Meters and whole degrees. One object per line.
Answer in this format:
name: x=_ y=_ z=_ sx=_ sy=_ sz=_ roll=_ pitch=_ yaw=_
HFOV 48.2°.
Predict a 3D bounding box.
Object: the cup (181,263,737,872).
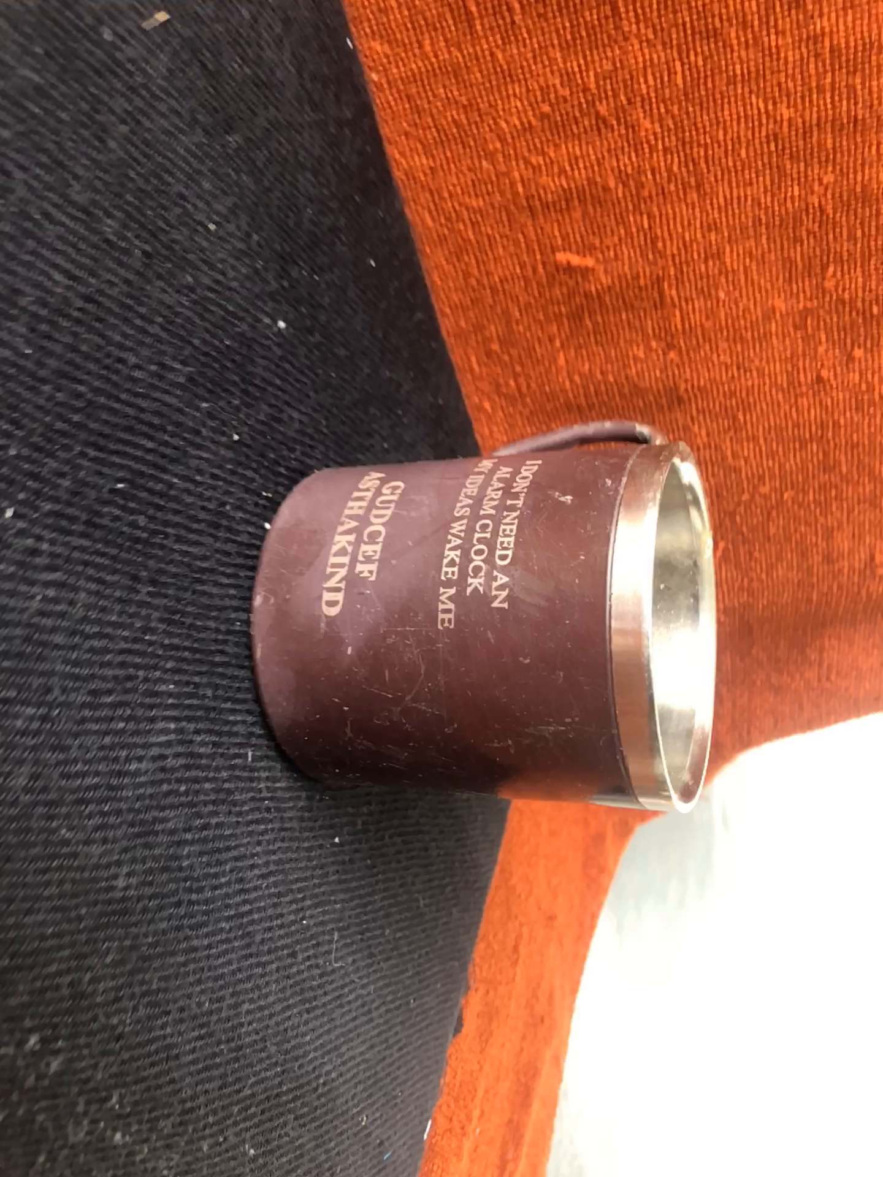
cup: x=0.018 y=-0.008 z=0.242 sx=0.110 sy=0.089 sz=0.090 roll=-66 pitch=147 yaw=-45
